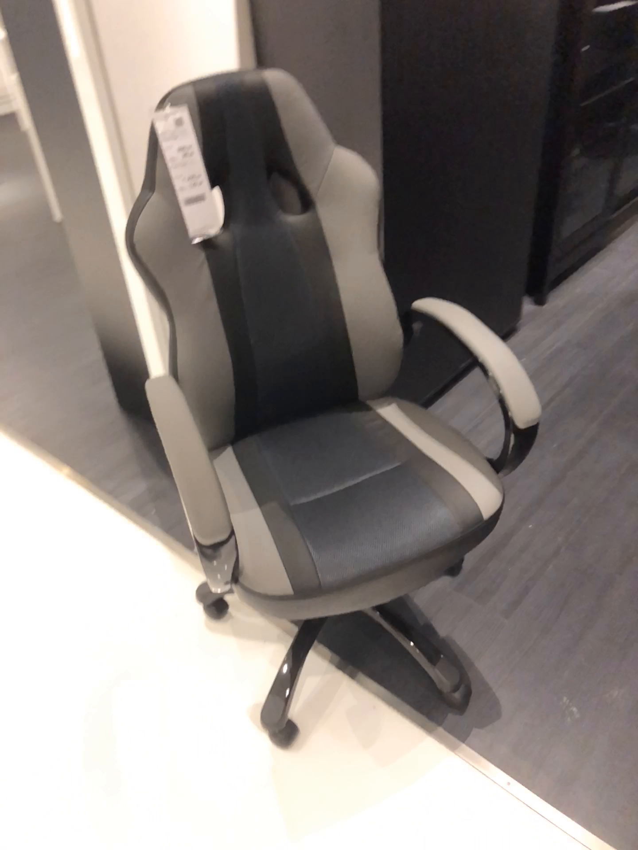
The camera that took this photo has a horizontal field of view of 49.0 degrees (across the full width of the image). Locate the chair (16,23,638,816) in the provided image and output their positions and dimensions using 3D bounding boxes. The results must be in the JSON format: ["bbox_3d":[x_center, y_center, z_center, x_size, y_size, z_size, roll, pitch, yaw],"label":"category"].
[{"bbox_3d":[-0.009,-0.037,1.369,0.711,1.161,0.785,-17,38,-16],"label":"chair"}]
